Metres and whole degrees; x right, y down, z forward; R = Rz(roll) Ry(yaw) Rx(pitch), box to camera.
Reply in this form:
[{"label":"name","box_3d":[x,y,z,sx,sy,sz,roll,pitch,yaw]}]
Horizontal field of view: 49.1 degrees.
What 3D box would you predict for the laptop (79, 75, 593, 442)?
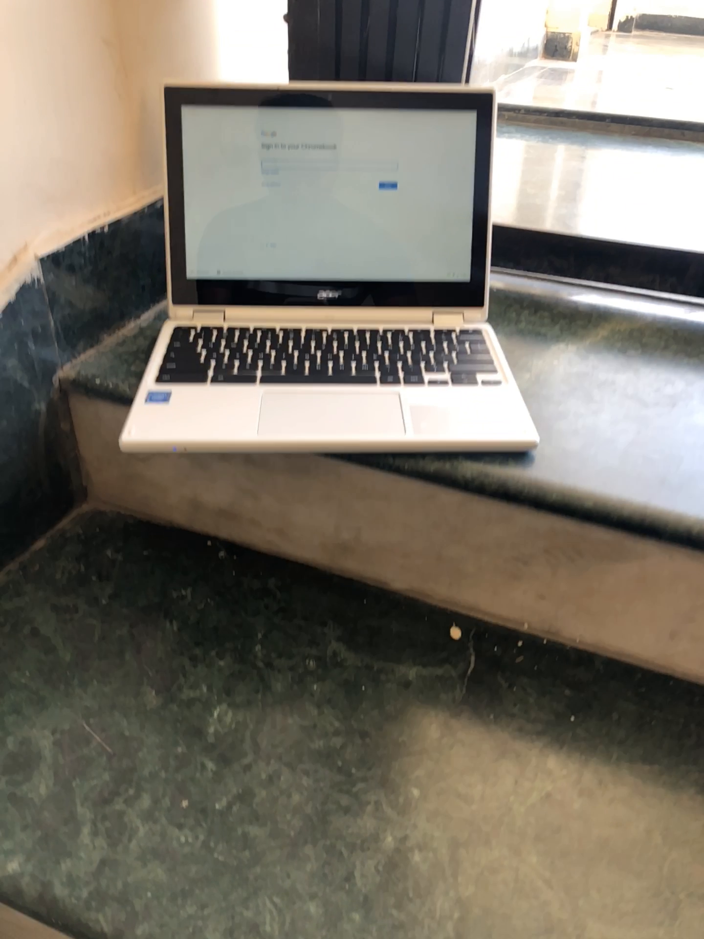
[{"label":"laptop","box_3d":[-0.013,-0.171,0.577,0.278,0.178,0.273,0,34,-3]}]
